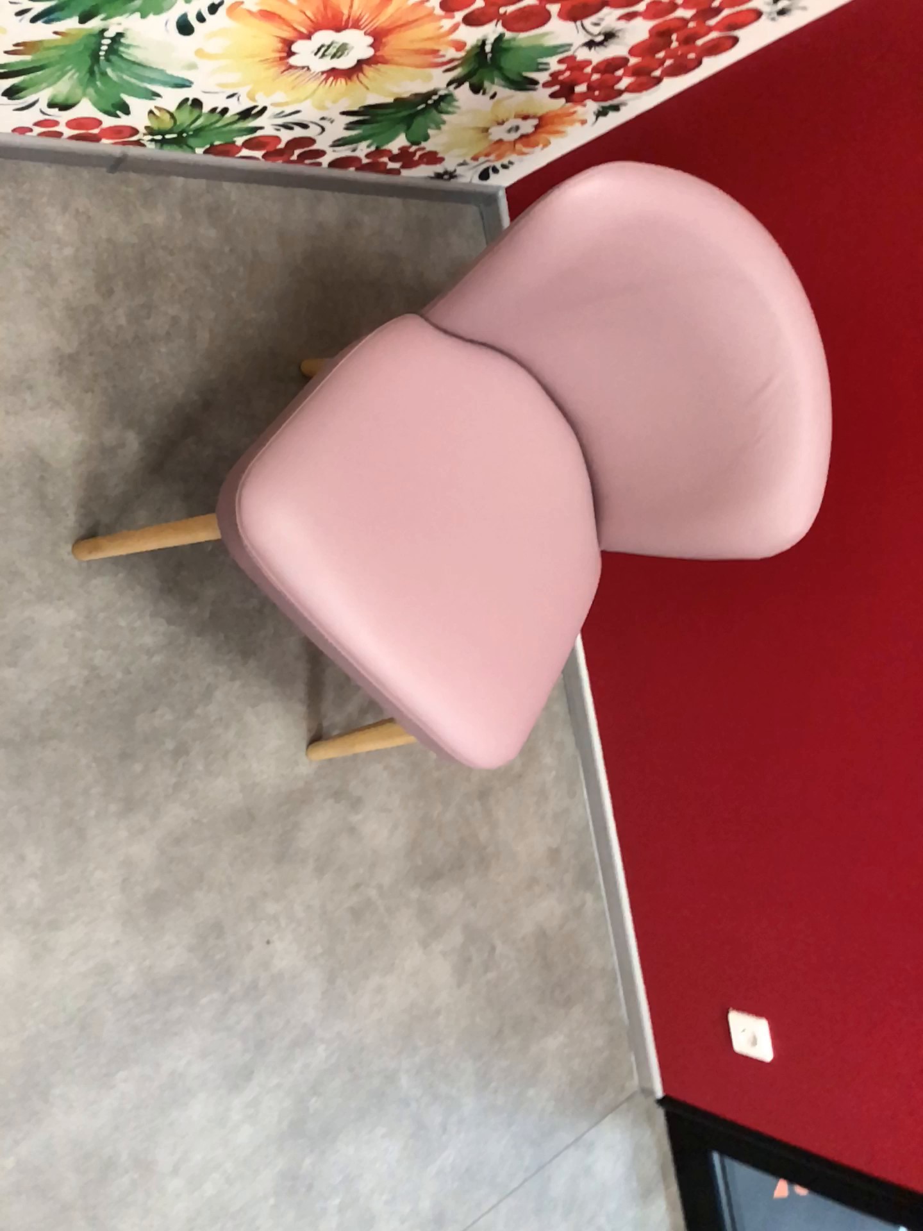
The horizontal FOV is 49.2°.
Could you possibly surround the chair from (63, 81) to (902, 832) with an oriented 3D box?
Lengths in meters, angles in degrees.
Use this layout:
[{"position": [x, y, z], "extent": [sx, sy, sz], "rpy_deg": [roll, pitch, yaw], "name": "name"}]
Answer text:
[{"position": [0.005, -0.136, 1.290], "extent": [0.511, 0.786, 0.542], "rpy_deg": [47, 59, -28], "name": "chair"}]
